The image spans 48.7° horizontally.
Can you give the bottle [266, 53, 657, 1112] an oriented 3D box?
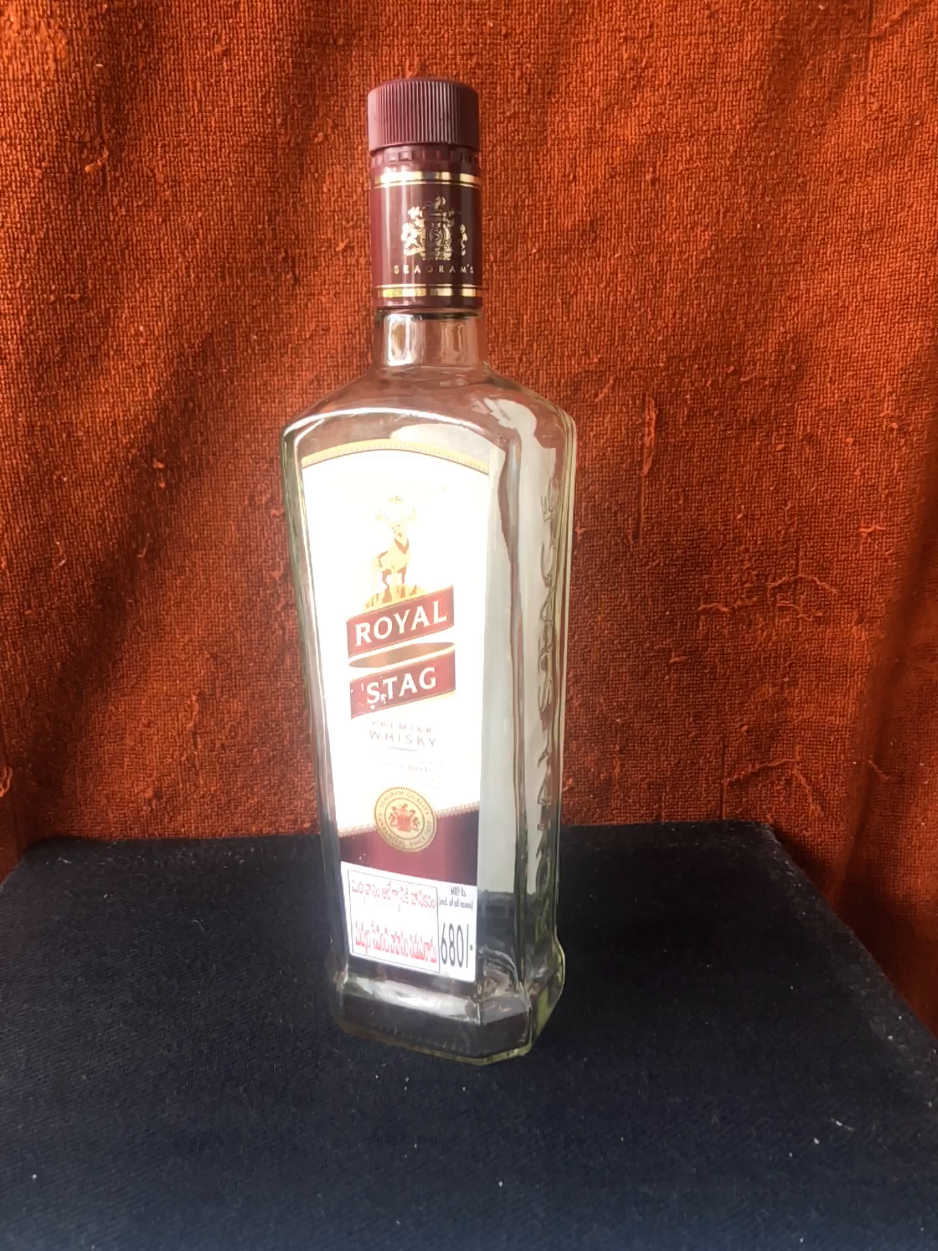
[{"bbox_3d":[-0.002,-0.004,0.316,0.090,0.289,0.060,6,16,17],"label":"bottle"}]
